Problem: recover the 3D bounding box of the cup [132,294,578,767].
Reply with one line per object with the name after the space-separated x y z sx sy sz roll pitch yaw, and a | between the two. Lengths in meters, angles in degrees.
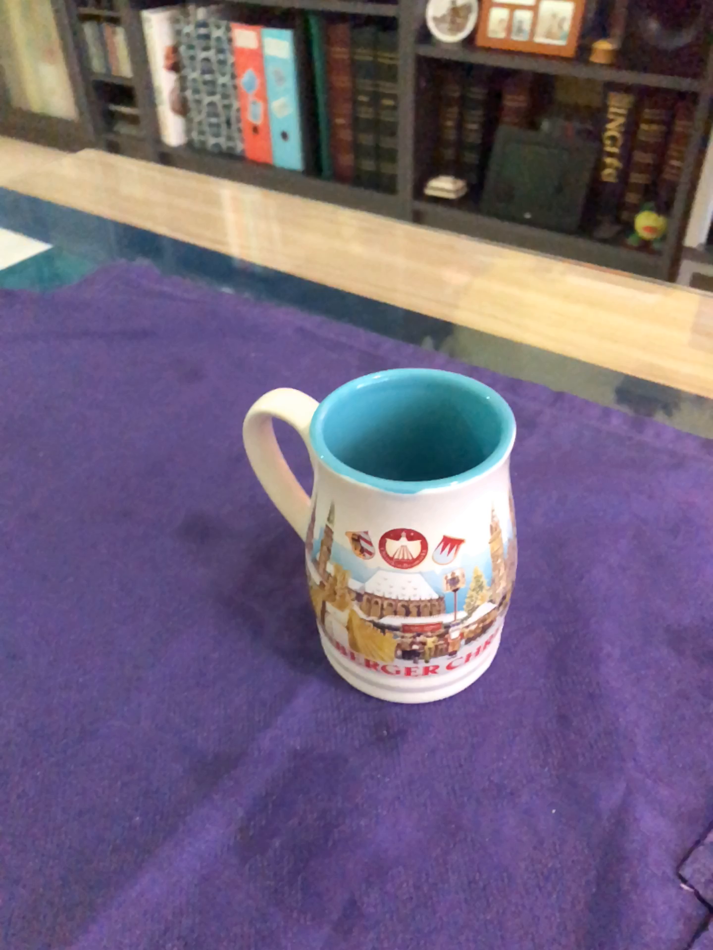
0.000 0.015 0.293 0.120 0.110 0.080 25 47 29 | cup
